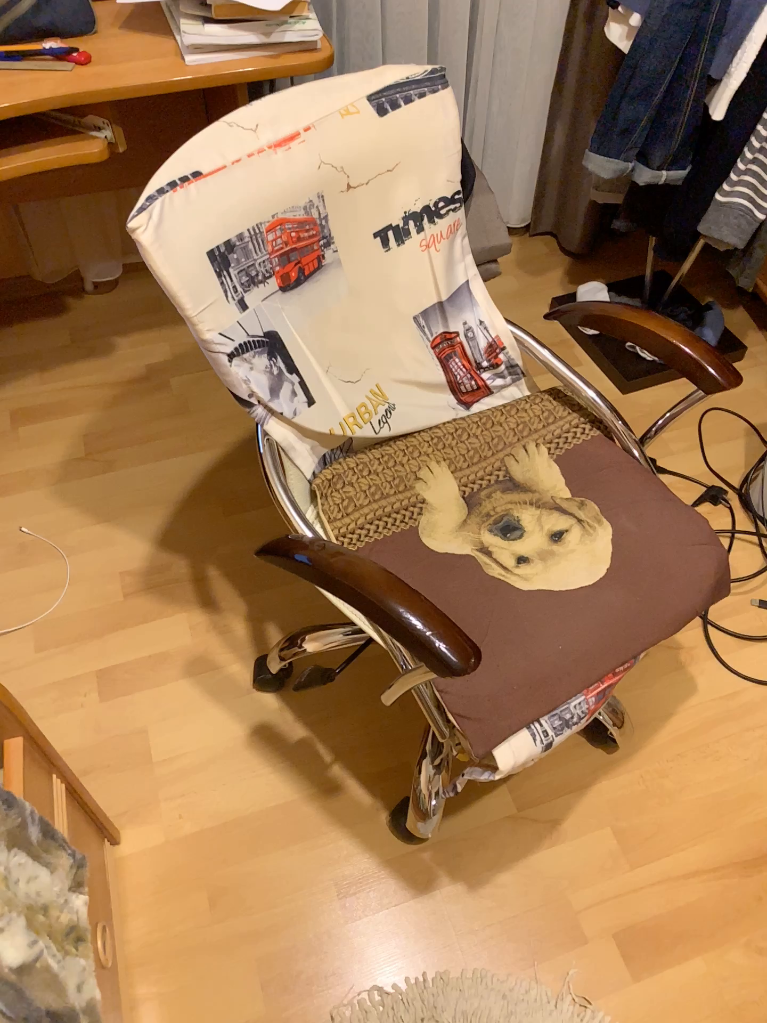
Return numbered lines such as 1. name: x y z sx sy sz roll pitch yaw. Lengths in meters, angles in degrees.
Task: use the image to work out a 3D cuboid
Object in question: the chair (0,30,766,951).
1. chair: 0.064 -0.011 0.842 0.565 0.665 0.477 36 58 25
